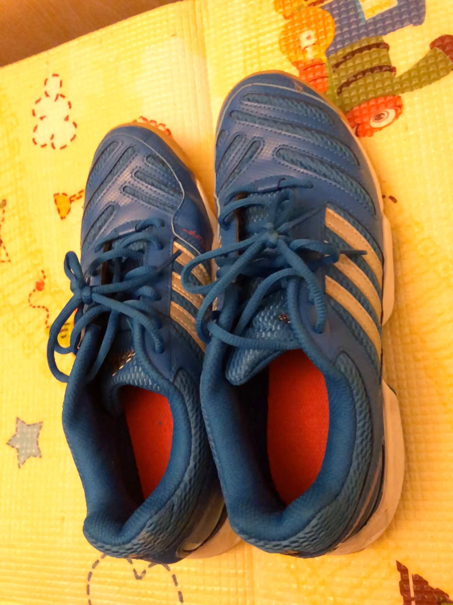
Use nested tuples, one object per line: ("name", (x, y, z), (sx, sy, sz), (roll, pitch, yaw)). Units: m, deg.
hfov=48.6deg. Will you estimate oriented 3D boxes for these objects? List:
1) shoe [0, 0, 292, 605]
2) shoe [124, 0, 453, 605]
("shoe", (-0.052, 0.001, 0.312), (0.110, 0.140, 0.290), (-12, 78, 22))
("shoe", (0.035, -0.009, 0.274), (0.110, 0.120, 0.290), (-11, 78, 22))
